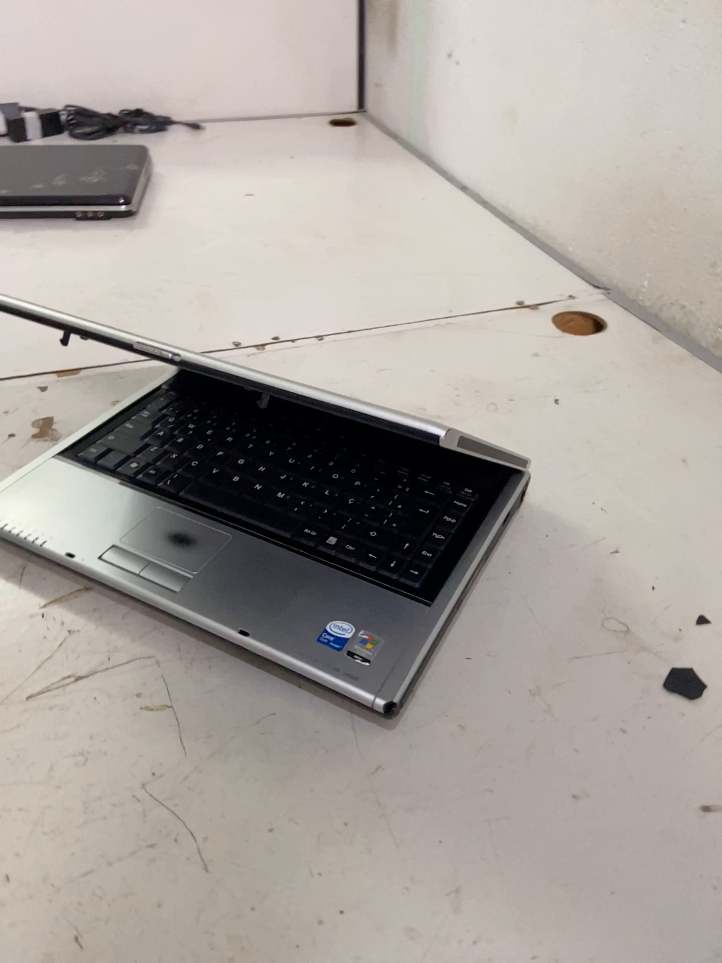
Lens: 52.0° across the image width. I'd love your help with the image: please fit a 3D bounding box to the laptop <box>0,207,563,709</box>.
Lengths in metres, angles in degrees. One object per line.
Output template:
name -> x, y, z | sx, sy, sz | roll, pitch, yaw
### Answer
laptop -> -0.072, -0.048, 0.473 | 0.319, 0.144, 0.227 | 18, 41, 23
